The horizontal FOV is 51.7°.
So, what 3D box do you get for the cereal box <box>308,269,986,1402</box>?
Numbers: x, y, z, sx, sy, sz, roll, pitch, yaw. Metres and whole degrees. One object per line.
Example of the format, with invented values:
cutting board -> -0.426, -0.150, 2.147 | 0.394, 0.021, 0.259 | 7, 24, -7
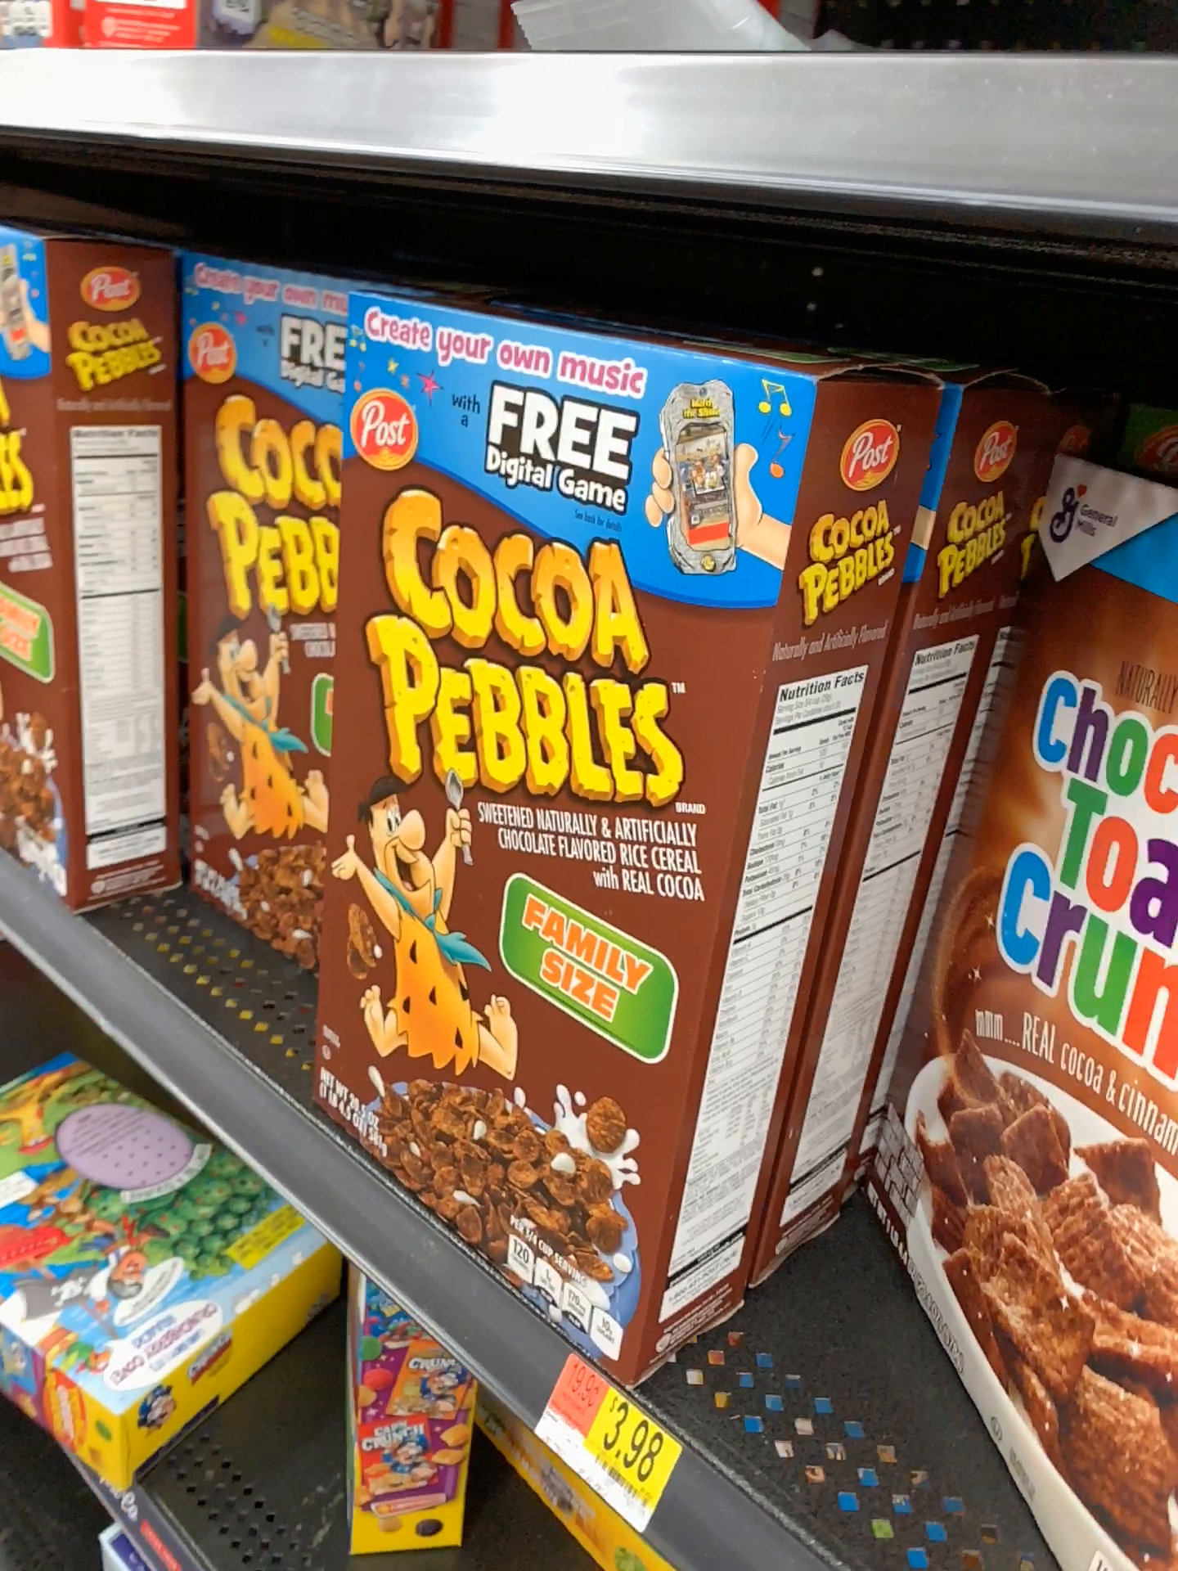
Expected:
cereal box -> -0.009, 0.011, 0.421 | 0.201, 0.328, 0.060 | 27, 29, 38
